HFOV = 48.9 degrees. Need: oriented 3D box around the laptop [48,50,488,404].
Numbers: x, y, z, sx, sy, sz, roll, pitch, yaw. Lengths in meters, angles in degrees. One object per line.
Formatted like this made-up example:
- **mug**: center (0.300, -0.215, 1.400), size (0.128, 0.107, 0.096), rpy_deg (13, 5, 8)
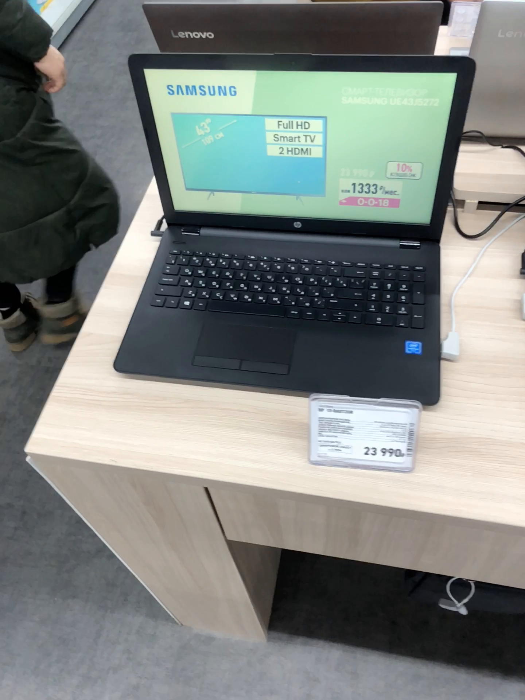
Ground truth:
- **laptop**: center (0.021, -0.141, 0.631), size (0.362, 0.222, 0.274), rpy_deg (6, 54, 9)
